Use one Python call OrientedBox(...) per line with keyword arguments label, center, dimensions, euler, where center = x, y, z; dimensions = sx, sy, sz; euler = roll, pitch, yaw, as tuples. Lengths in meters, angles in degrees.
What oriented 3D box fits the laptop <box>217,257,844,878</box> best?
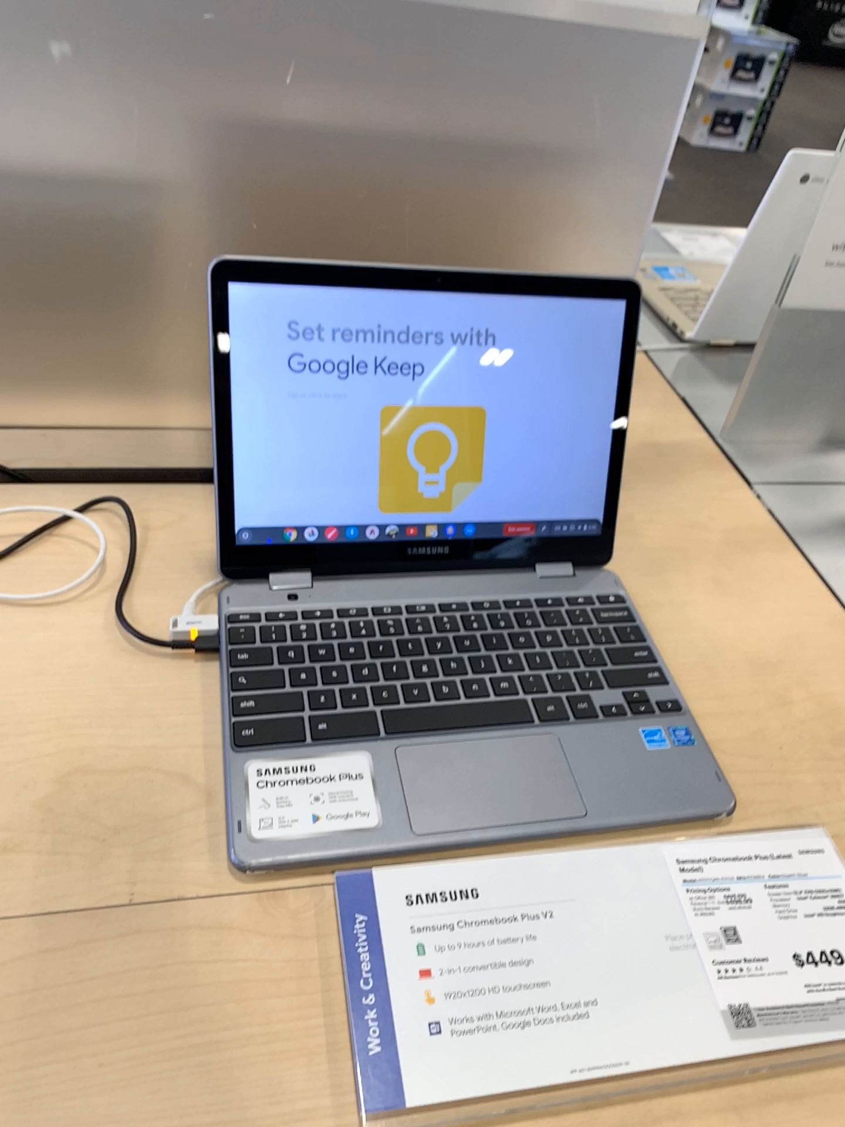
OrientedBox(label="laptop", center=(0.028, -0.020, 0.504), dimensions=(0.273, 0.181, 0.289), euler=(-3, 43, -14))
